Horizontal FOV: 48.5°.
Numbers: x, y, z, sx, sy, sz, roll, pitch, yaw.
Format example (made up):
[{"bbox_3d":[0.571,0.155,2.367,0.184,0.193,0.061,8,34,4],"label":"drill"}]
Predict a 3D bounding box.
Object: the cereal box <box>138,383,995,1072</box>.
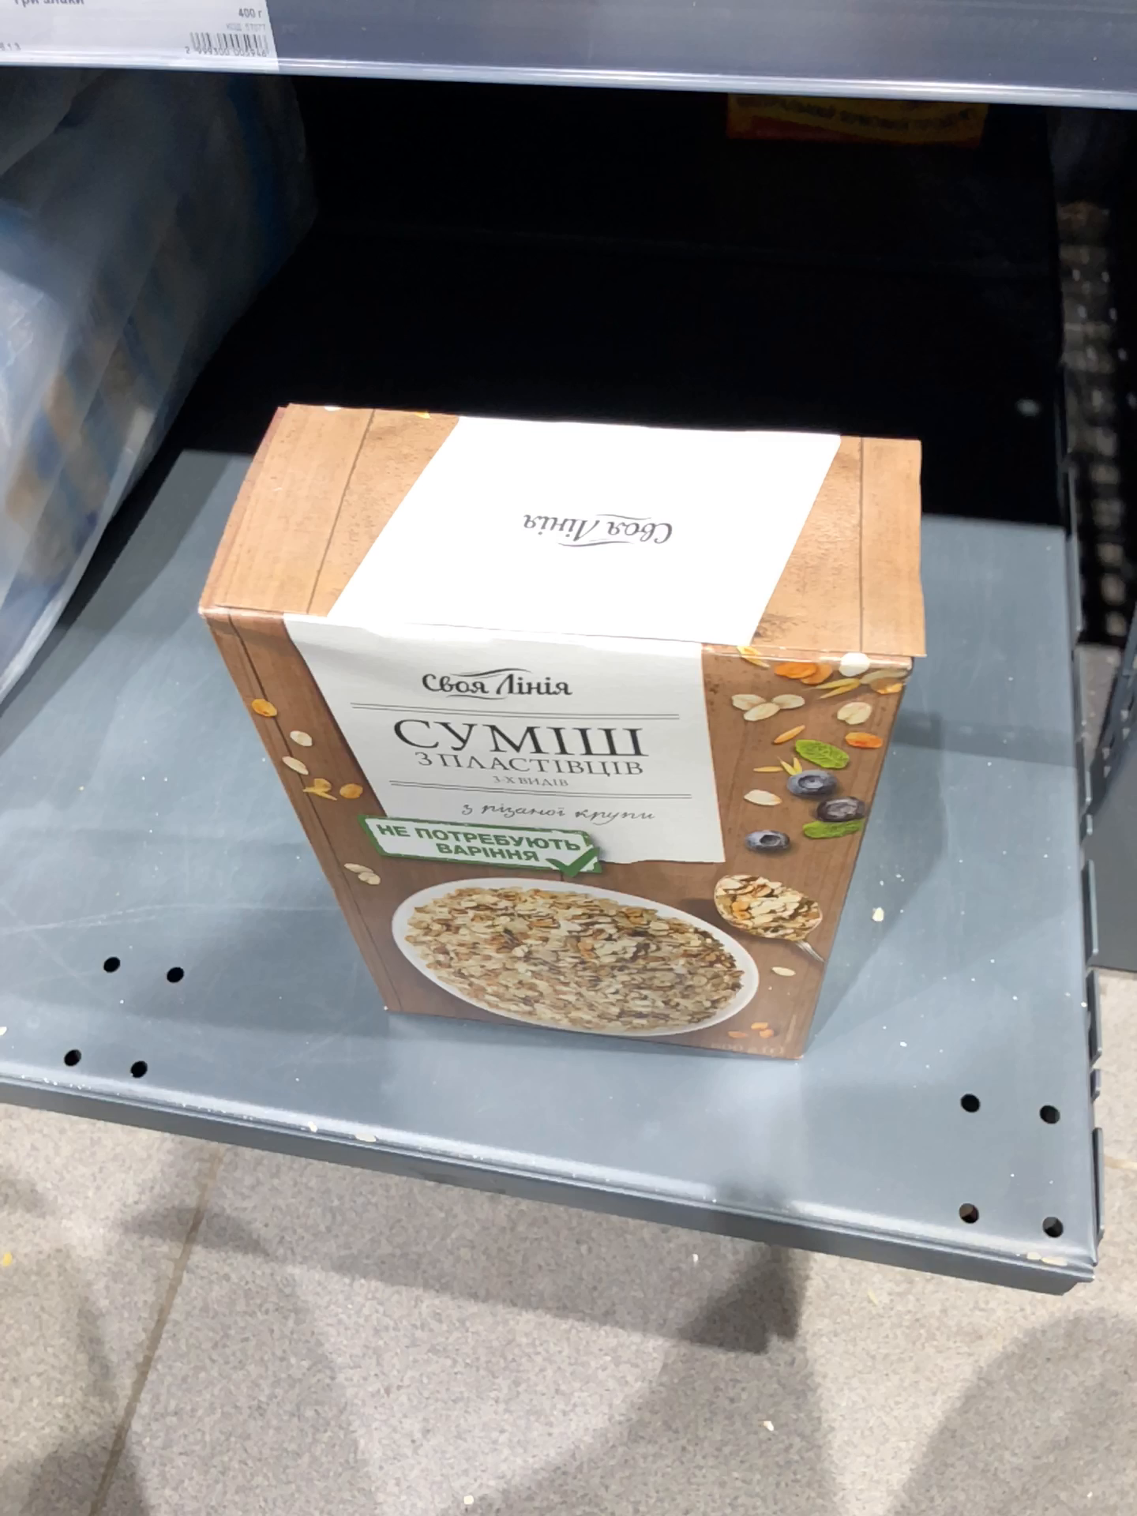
[{"bbox_3d":[0.007,0.008,0.336,0.160,0.209,0.060,5,57,7],"label":"cereal box"}]
